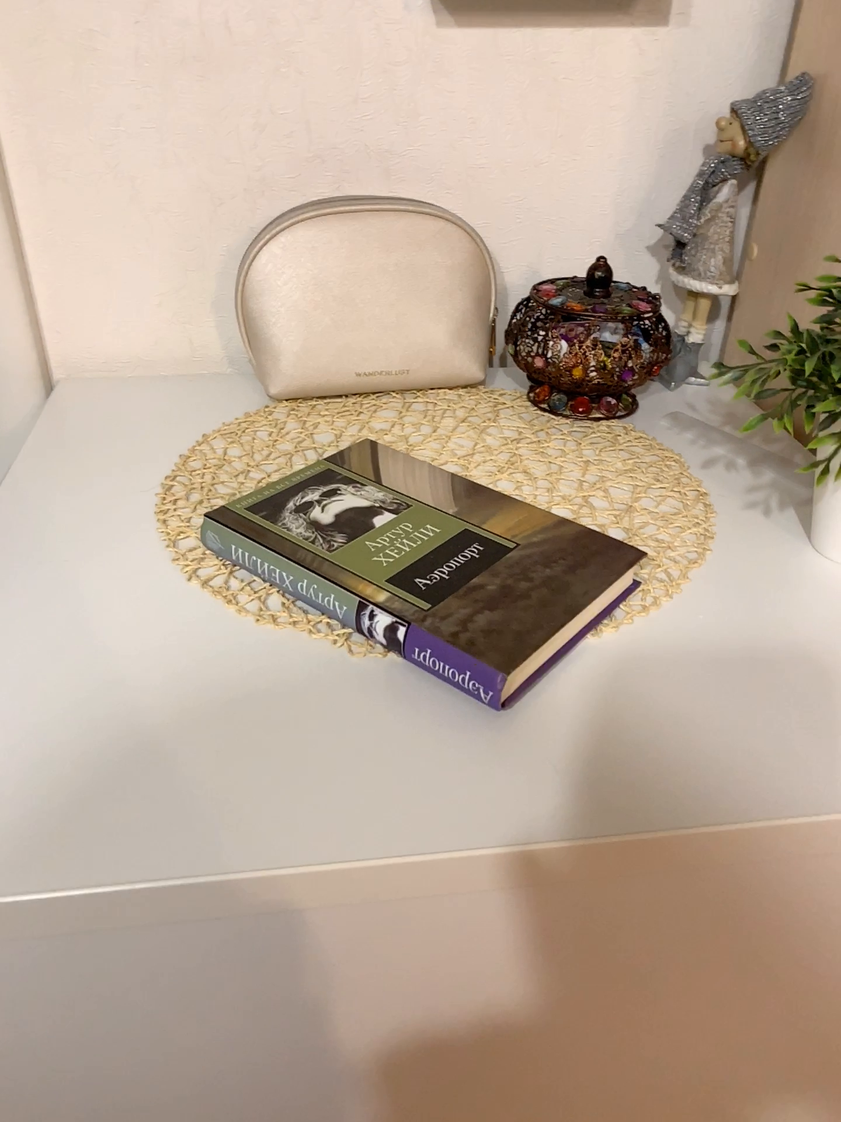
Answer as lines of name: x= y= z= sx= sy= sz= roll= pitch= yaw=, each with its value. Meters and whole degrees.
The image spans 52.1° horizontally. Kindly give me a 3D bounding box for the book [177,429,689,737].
book: x=0.003 y=-0.007 z=0.464 sx=0.231 sy=0.020 sz=0.151 roll=25 pitch=40 yaw=32
